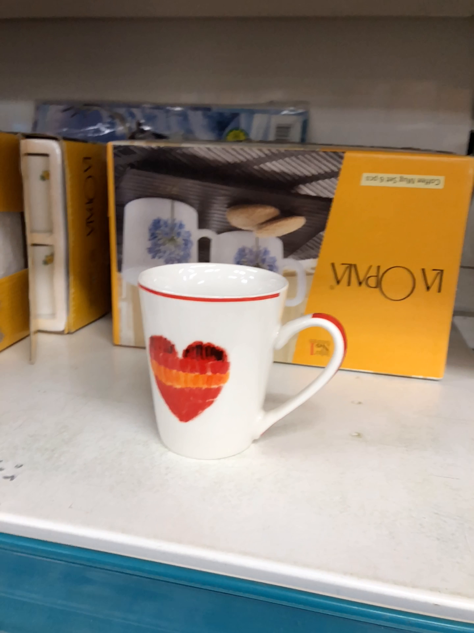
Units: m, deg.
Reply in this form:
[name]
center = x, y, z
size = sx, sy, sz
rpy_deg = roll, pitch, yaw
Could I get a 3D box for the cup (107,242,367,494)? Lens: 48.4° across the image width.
[cup]
center = 0.003, 0.019, 0.293
size = 0.120, 0.100, 0.080
rpy_deg = 8, 17, 15
